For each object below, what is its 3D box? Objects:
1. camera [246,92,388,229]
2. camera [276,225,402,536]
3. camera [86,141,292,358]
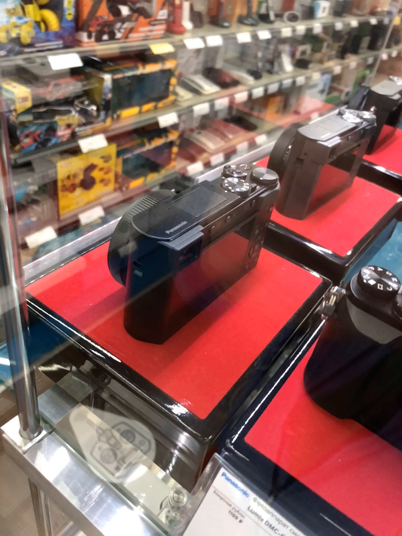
[{"bbox_3d":[0.101,-0.097,0.387,0.055,0.076,0.114,32,42,26],"label":"camera"},{"bbox_3d":[0.097,0.045,0.188,0.102,0.076,0.054,30,41,23],"label":"camera"},{"bbox_3d":[-0.005,-0.017,0.253,0.052,0.070,0.110,30,41,23],"label":"camera"}]
